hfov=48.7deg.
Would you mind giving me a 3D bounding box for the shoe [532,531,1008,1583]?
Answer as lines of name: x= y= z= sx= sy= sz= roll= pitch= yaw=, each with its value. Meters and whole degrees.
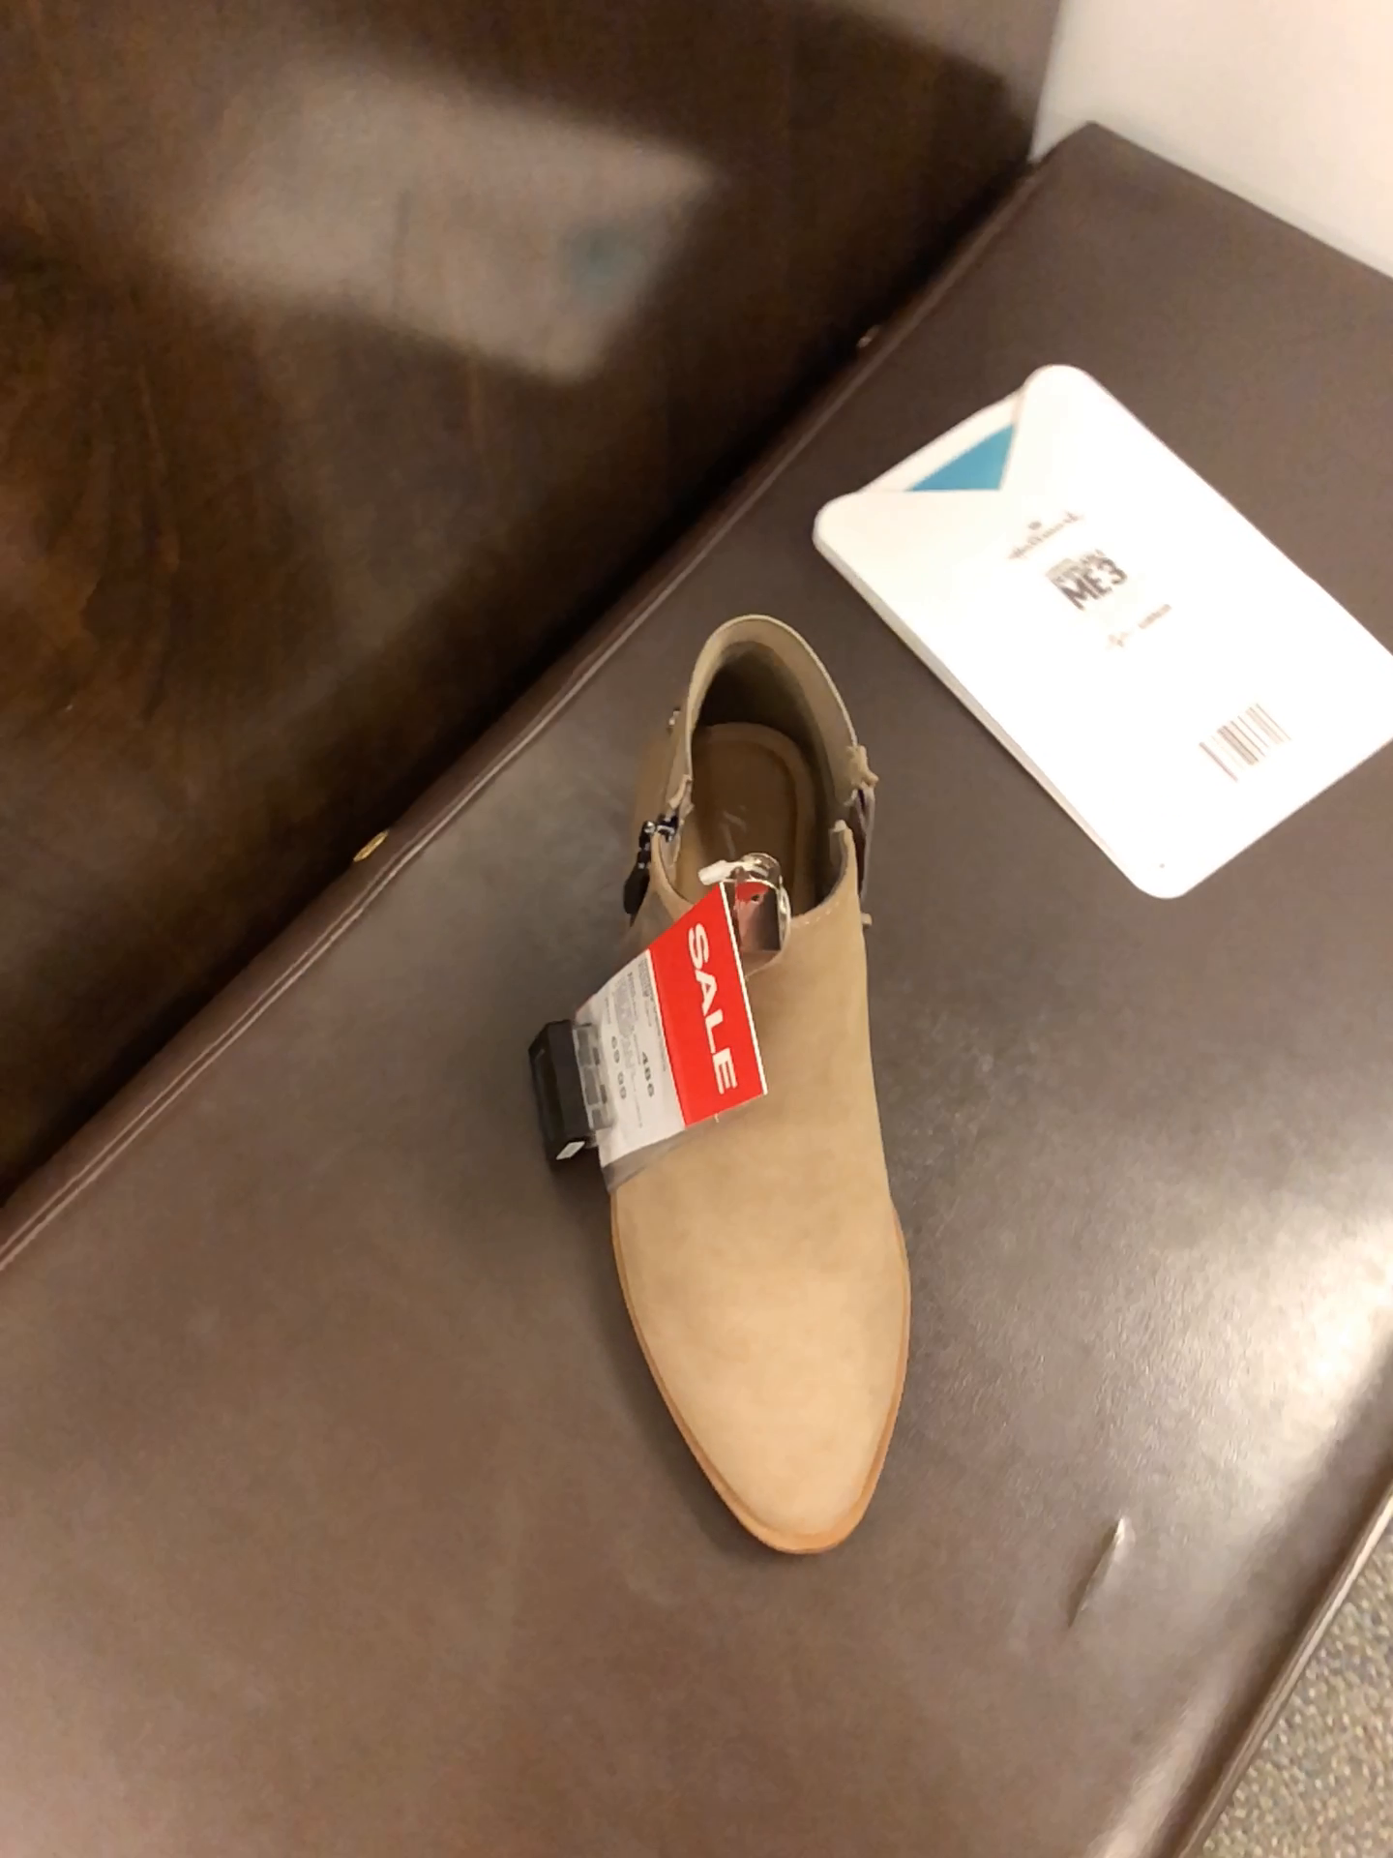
shoe: x=0.010 y=0.037 z=0.434 sx=0.097 sy=0.133 sz=0.260 roll=-3 pitch=64 yaw=-1
